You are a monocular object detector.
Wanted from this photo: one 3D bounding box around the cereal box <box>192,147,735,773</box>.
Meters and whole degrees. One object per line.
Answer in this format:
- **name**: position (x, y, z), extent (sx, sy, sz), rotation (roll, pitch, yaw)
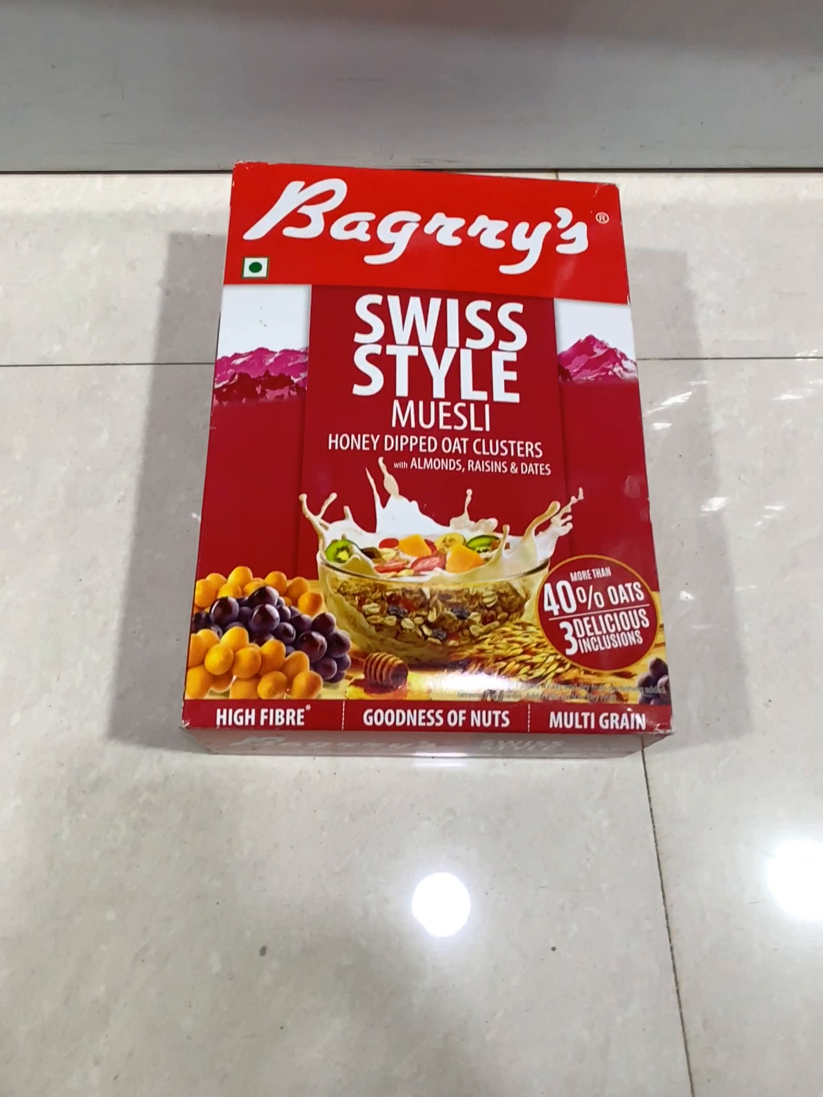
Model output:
- **cereal box**: position (0.019, -0.039, 0.375), extent (0.190, 0.080, 0.260), rotation (2, 70, -4)
